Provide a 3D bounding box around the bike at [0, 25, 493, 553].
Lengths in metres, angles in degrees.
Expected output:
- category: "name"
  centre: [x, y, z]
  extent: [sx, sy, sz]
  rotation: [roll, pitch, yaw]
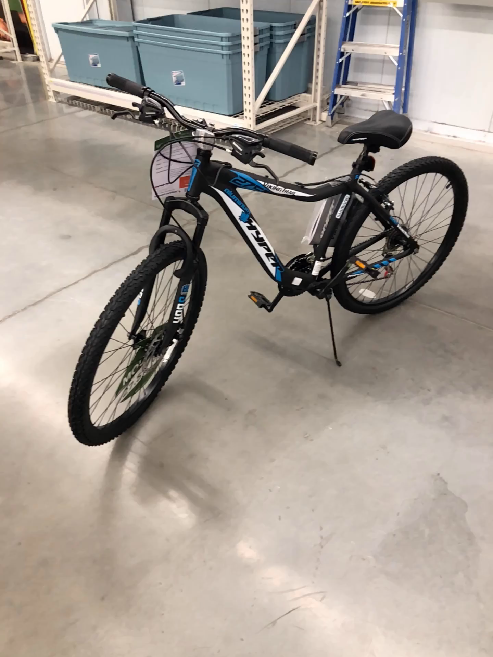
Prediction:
- category: "bike"
  centre: [0.203, -0.266, 1.711]
  extent: [1.636, 0.986, 0.574]
  rotation: [-27, 44, -29]
